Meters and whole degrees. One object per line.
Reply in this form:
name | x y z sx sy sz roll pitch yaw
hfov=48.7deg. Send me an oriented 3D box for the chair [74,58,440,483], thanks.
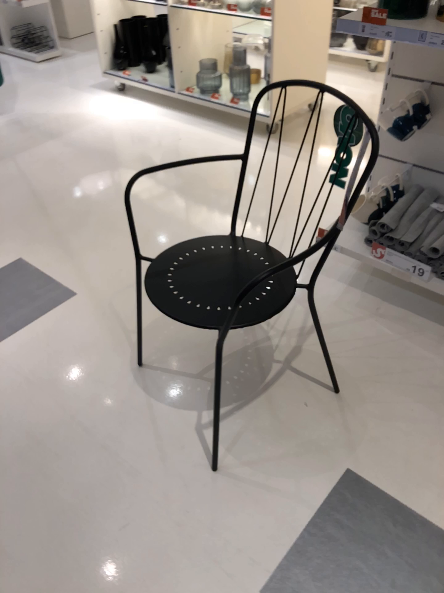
chair | 0.067 -0.076 1.275 0.561 0.813 0.513 -24 45 -24
